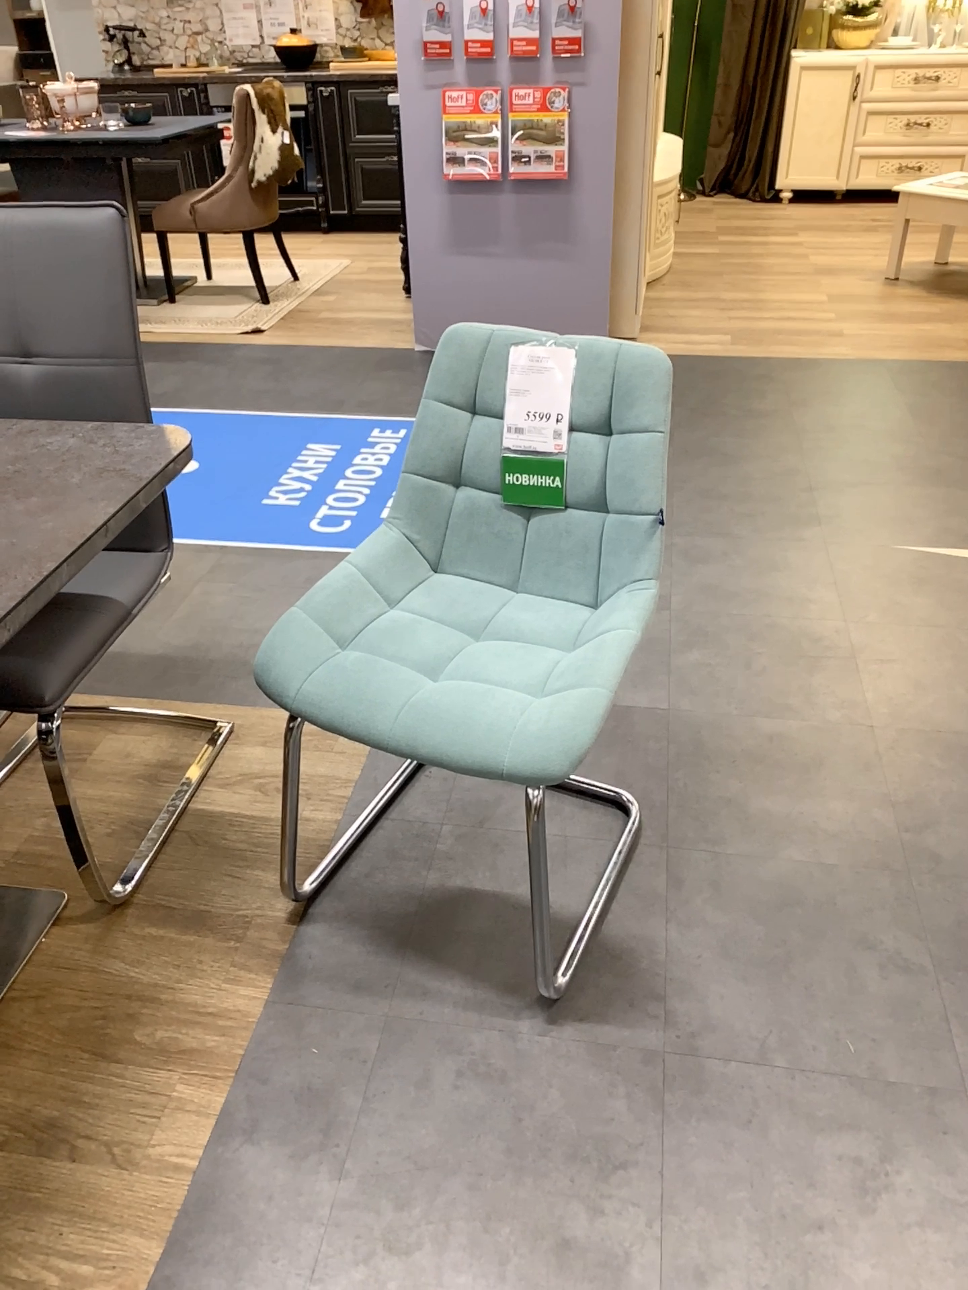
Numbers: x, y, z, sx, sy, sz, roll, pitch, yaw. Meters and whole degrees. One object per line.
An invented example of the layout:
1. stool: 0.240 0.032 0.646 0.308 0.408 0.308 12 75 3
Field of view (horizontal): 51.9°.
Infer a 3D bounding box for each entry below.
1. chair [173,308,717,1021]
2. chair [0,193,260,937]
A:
1. chair: -0.007 0.002 1.507 0.510 0.825 0.553 13 36 21
2. chair: -0.791 -0.133 1.605 0.510 1.004 0.573 6 34 12
